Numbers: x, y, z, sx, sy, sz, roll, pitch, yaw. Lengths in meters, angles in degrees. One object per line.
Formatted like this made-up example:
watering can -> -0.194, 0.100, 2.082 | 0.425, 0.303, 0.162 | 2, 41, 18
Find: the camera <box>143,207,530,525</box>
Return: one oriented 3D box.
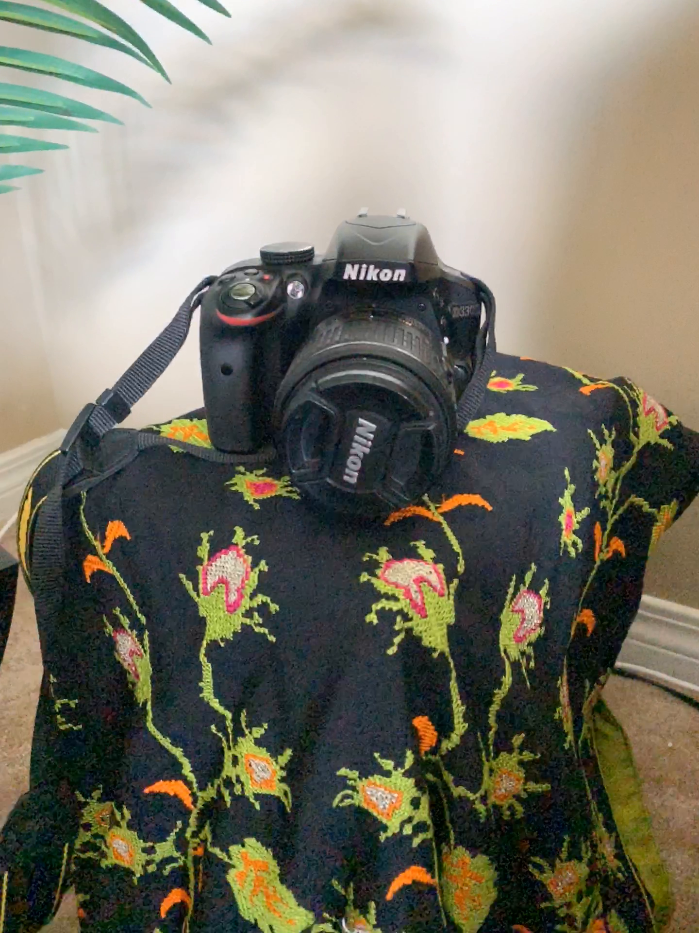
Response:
camera -> -0.003, -0.044, 0.285 | 0.120, 0.099, 0.091 | 1, 25, 2
